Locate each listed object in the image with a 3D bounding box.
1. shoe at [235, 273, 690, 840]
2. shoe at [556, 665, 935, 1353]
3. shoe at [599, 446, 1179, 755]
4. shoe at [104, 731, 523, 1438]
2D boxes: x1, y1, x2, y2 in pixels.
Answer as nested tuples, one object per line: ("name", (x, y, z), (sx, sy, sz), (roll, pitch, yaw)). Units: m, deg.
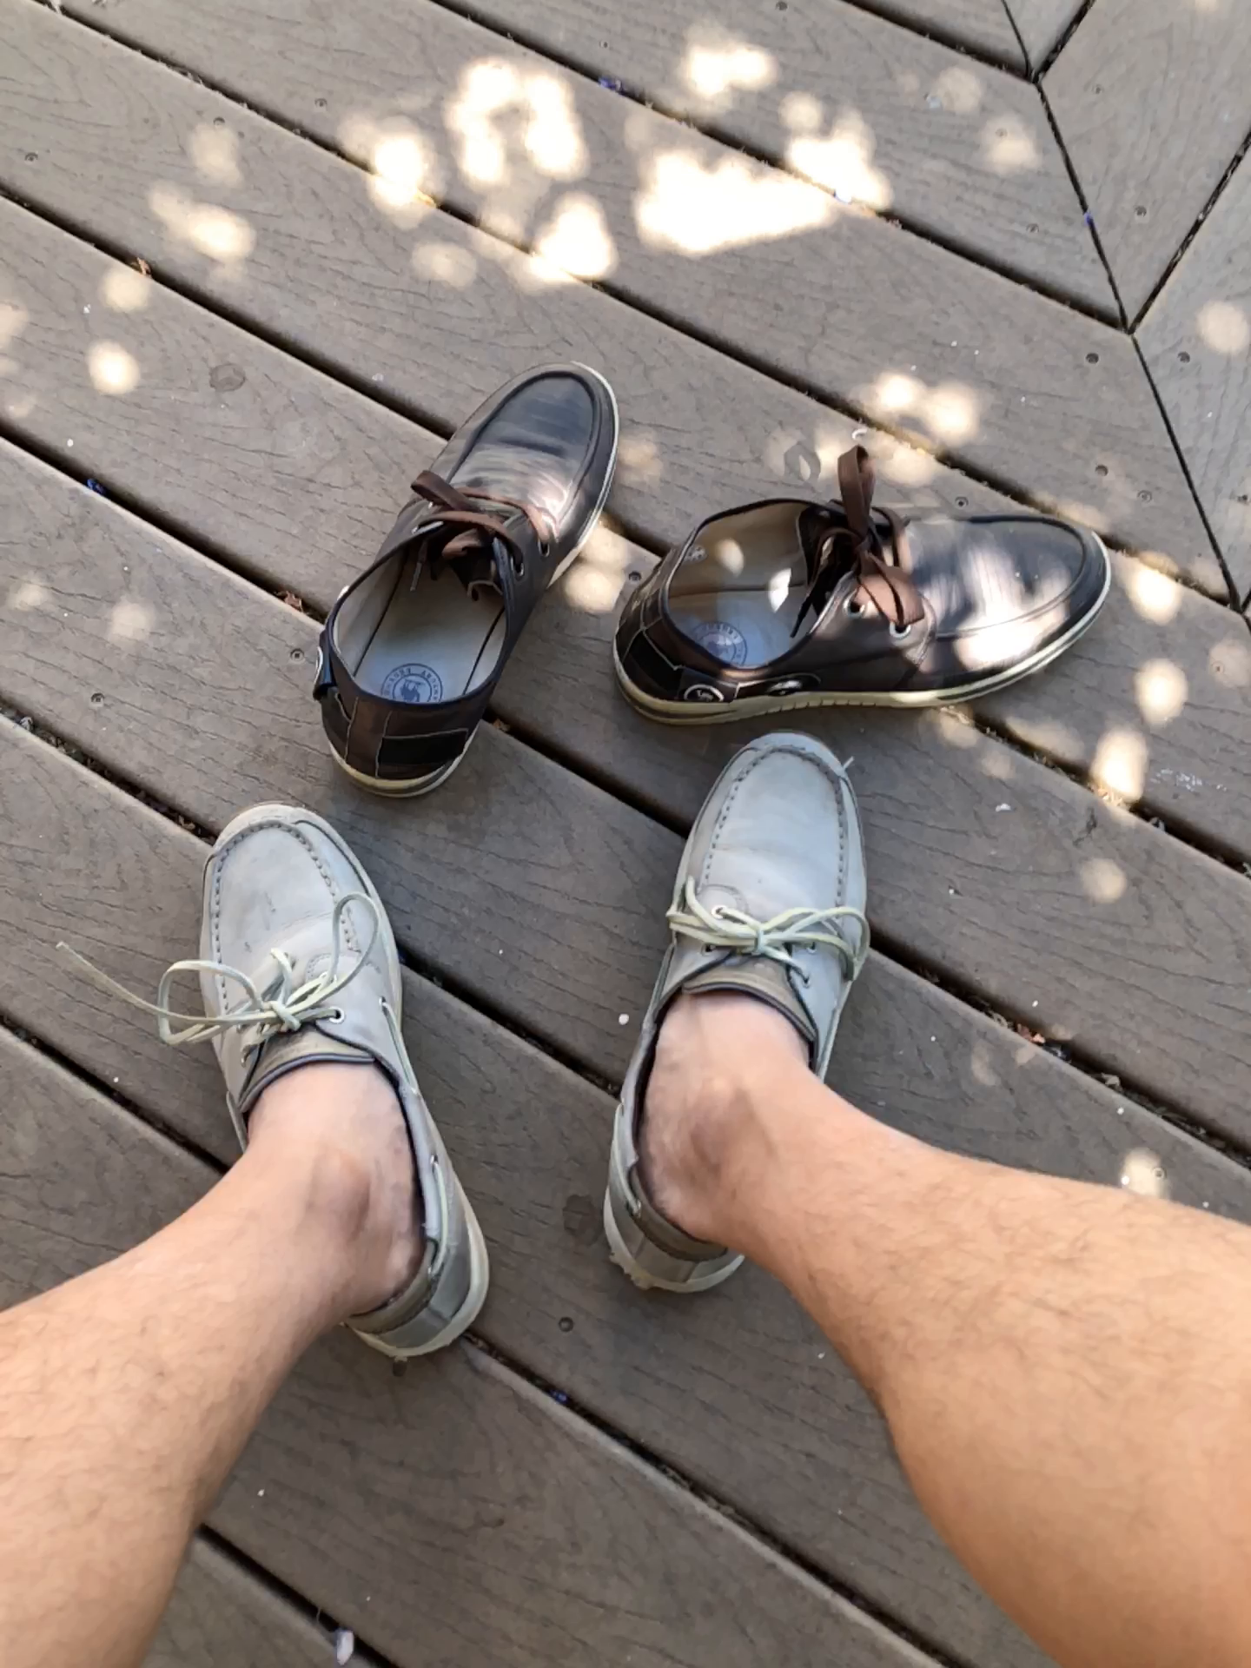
("shoe", (-0.079, -0.150, 0.732), (0.109, 0.069, 0.279), (27, 77, 8))
("shoe", (0.059, 0.082, 0.663), (0.109, 0.101, 0.293), (13, 74, 4))
("shoe", (0.131, -0.122, 0.728), (0.277, 0.079, 0.109), (-6, 73, -1))
("shoe", (-0.148, 0.112, 0.652), (0.109, 0.086, 0.293), (-18, 74, -5))
